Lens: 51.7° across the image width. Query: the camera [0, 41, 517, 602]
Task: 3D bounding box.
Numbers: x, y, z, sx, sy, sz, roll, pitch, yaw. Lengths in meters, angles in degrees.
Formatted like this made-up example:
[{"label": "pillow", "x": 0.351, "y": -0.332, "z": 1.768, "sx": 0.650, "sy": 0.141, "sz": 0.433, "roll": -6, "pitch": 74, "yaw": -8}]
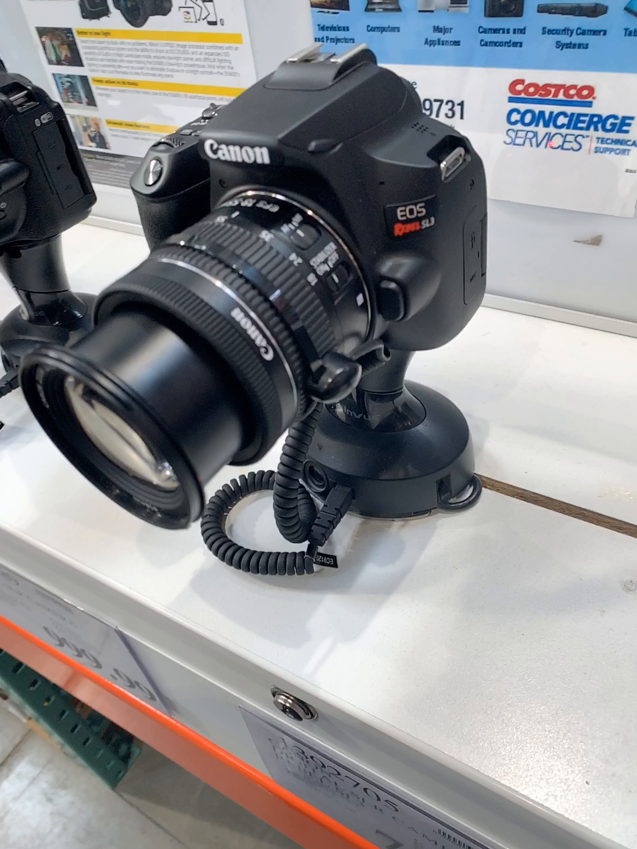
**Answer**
[{"label": "camera", "x": -0.026, "y": -0.048, "z": 0.194, "sx": 0.119, "sy": 0.079, "sz": 0.141, "roll": 17, "pitch": 49, "yaw": 26}]
